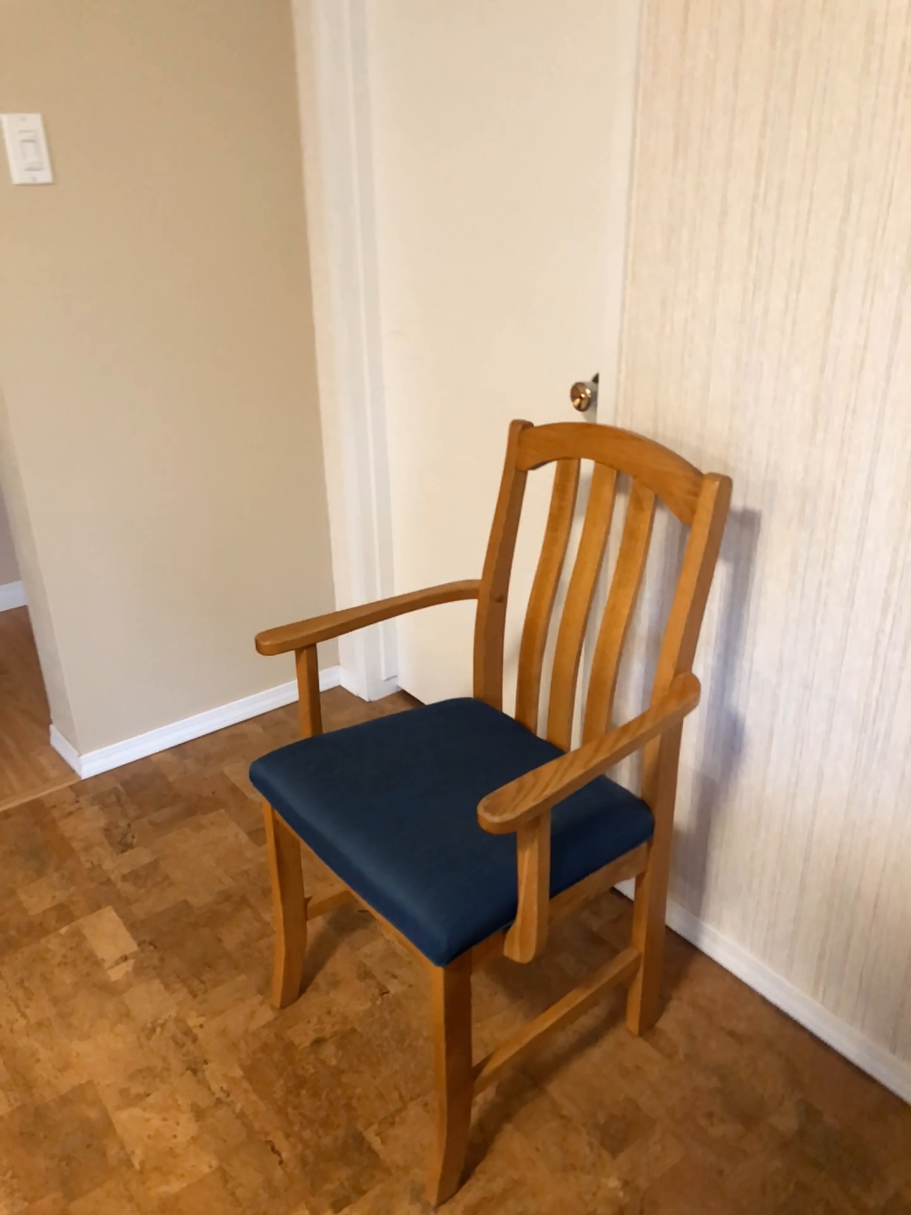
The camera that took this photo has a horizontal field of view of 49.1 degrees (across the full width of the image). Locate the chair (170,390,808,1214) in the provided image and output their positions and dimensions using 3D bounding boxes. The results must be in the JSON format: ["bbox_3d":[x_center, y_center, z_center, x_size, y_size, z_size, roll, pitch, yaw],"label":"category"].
[{"bbox_3d":[0.041,0.242,1.456,0.590,0.937,0.552,-20,31,-35],"label":"chair"}]
